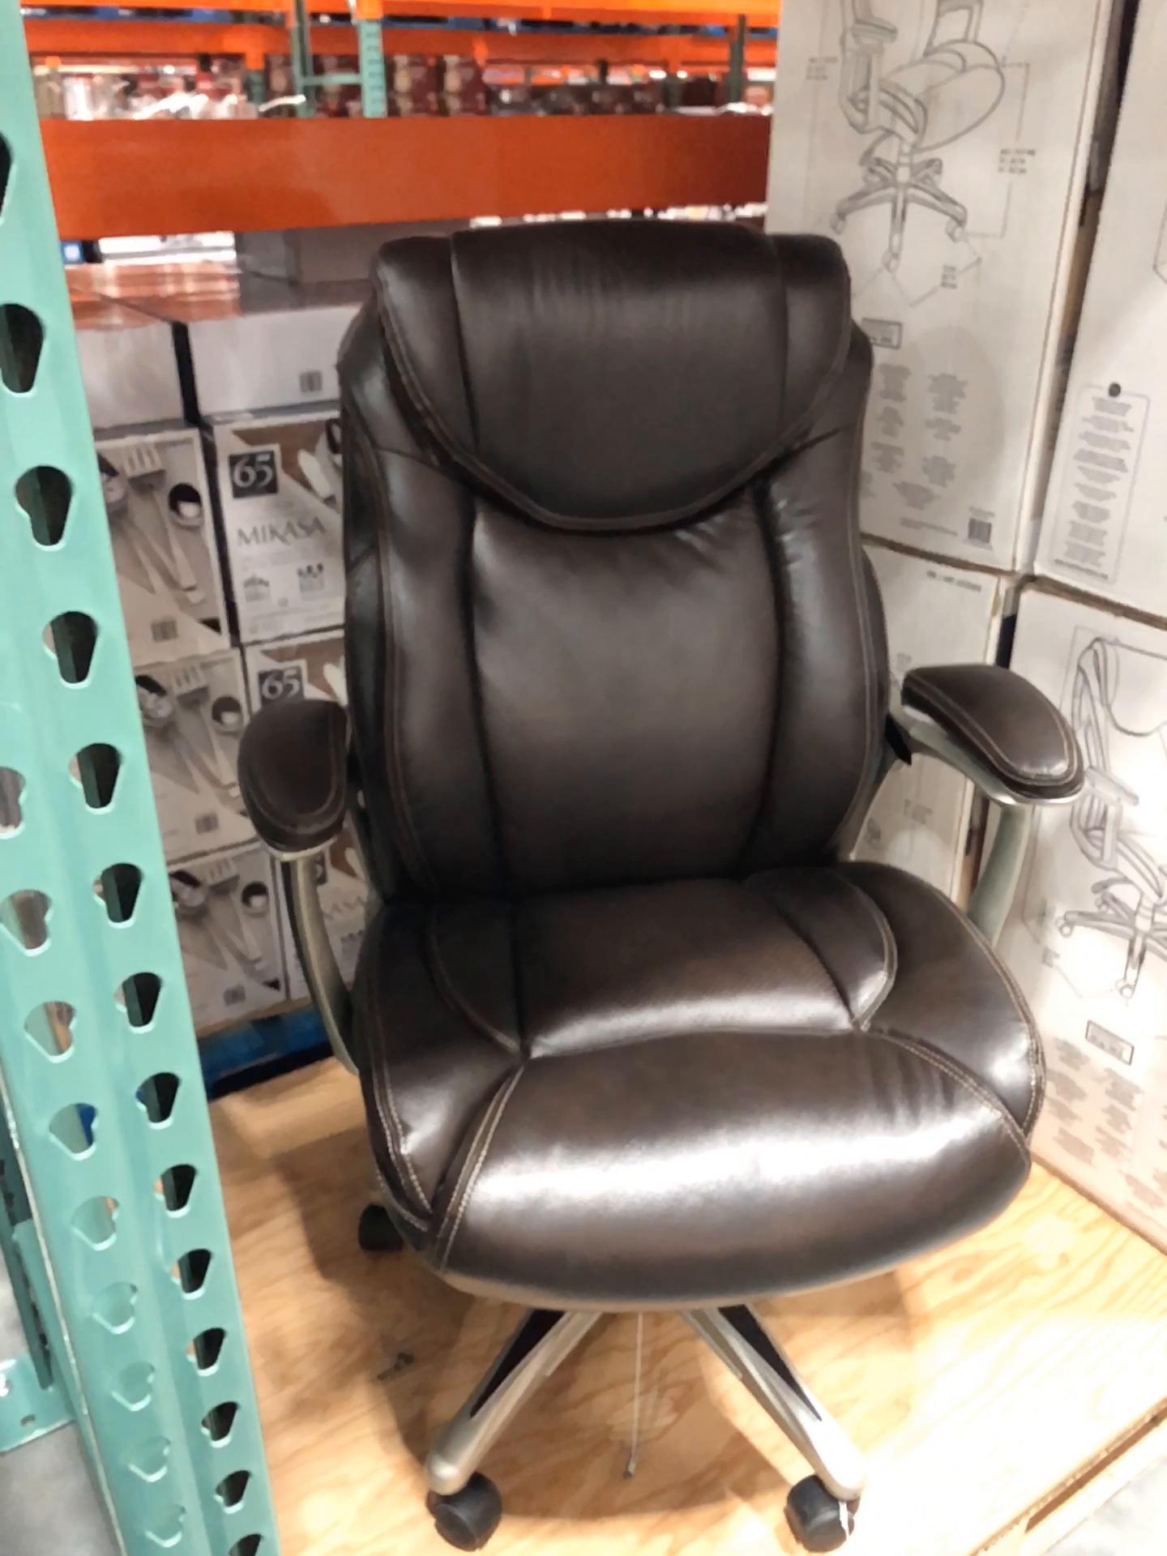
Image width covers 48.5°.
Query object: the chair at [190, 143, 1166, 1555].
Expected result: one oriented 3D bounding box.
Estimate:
[{"bbox_3d":[0.057,0.030,1.191,0.660,1.095,0.723,-7,27,-14],"label":"chair"}]
